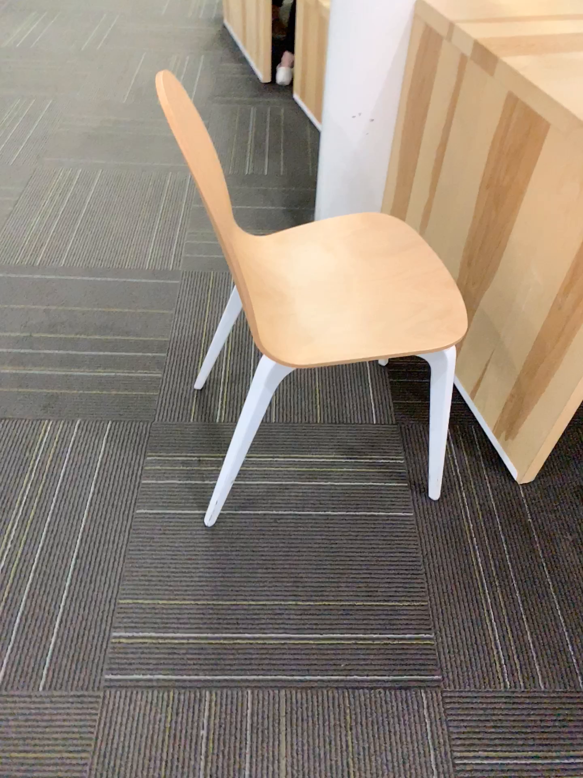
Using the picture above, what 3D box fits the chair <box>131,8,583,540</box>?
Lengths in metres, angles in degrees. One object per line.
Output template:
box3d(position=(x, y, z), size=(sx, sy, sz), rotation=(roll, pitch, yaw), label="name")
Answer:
box3d(position=(0.045, -0.177, 1.137), size=(0.550, 0.816, 0.503), rotation=(-7, 49, -9), label="chair")
